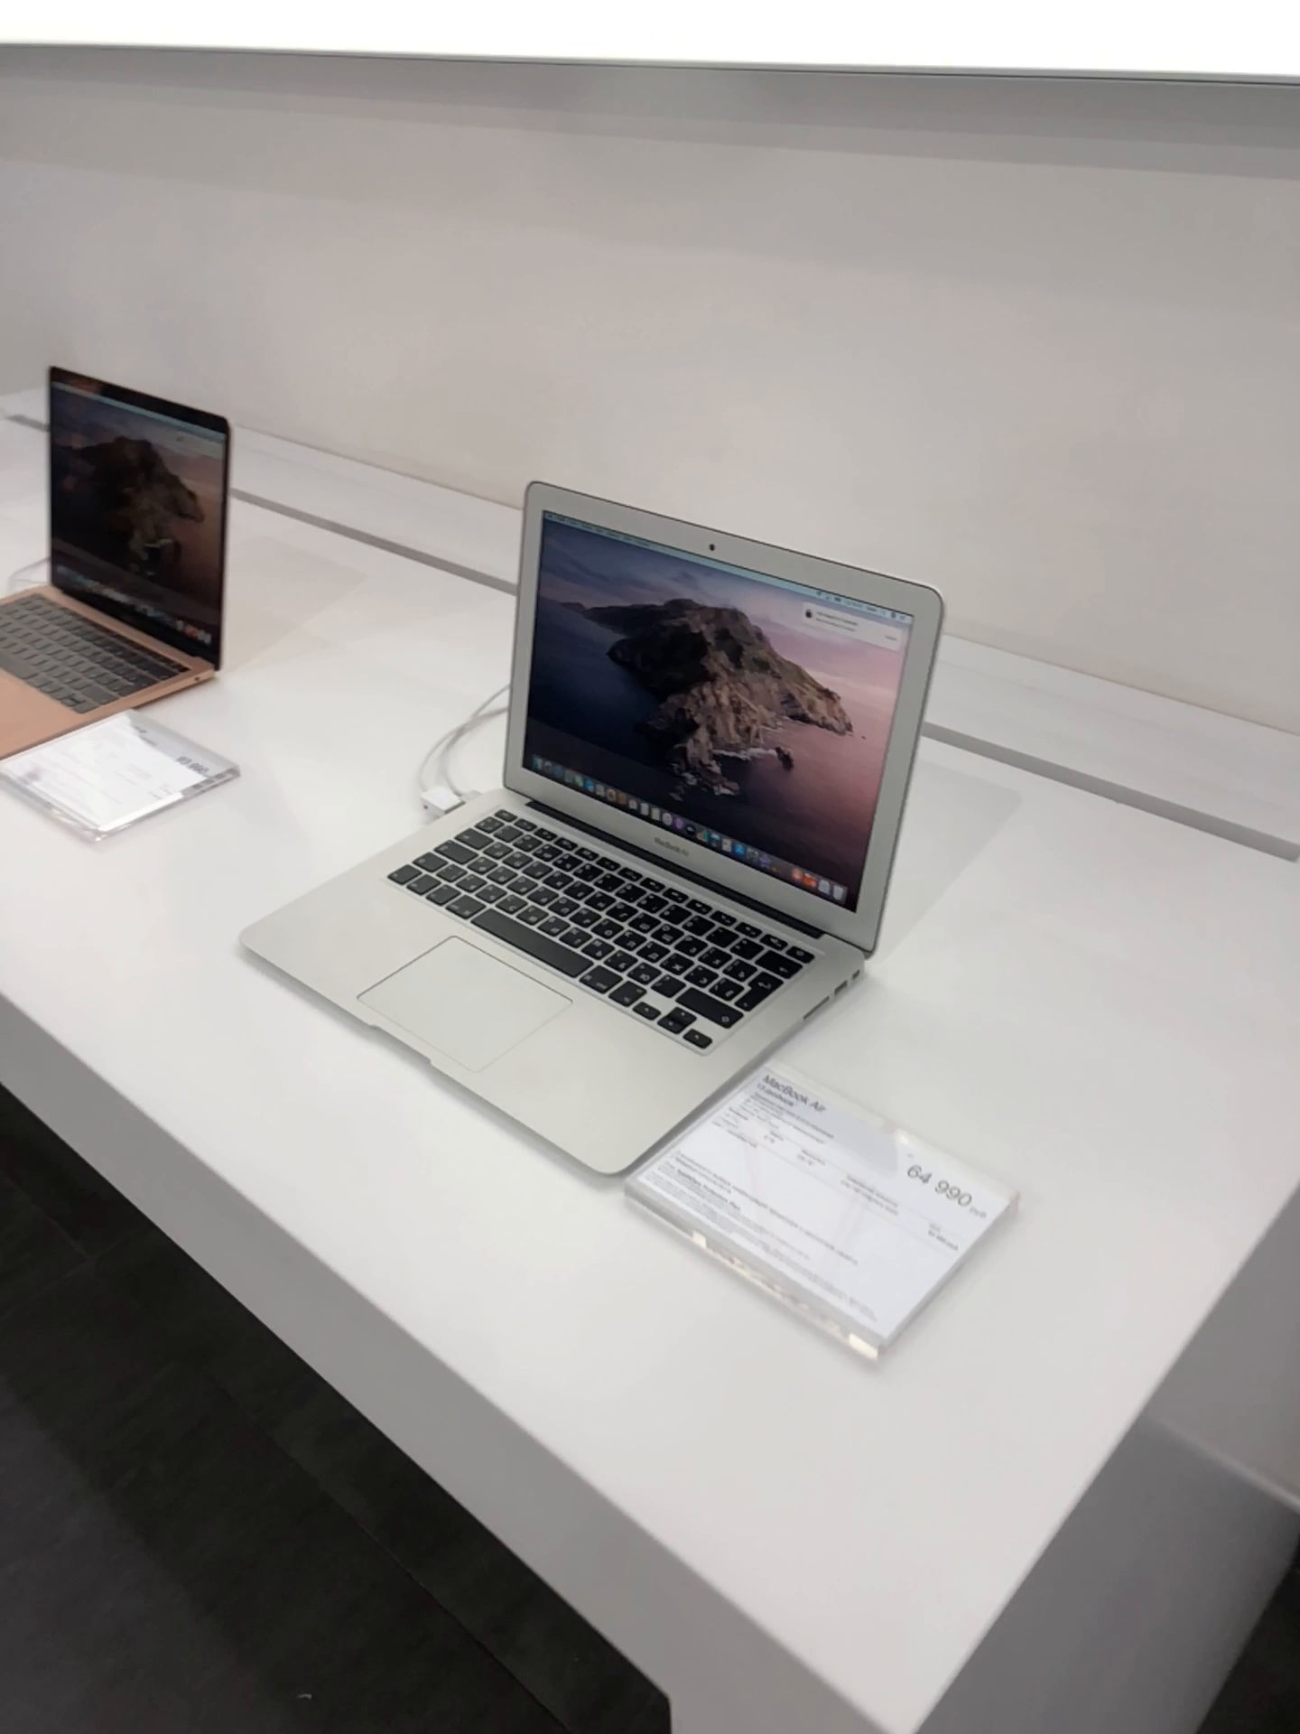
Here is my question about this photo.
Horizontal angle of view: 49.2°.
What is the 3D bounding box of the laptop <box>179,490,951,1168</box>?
[{"bbox_3d":[-0.045,-0.050,0.816,0.316,0.207,0.271,24,41,36],"label":"laptop"}]
